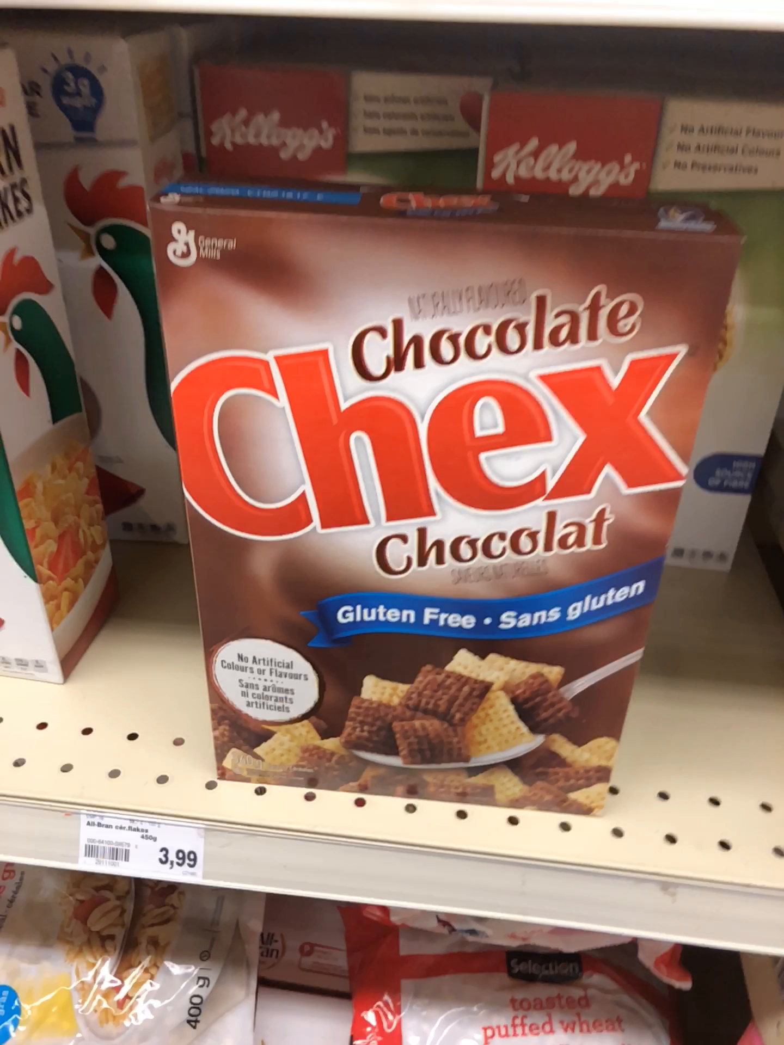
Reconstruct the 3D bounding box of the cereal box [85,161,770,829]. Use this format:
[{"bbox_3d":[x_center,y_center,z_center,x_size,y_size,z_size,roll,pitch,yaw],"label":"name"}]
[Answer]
[{"bbox_3d":[0.007,0.007,0.363,0.210,0.278,0.050,5,34,5],"label":"cereal box"}]
